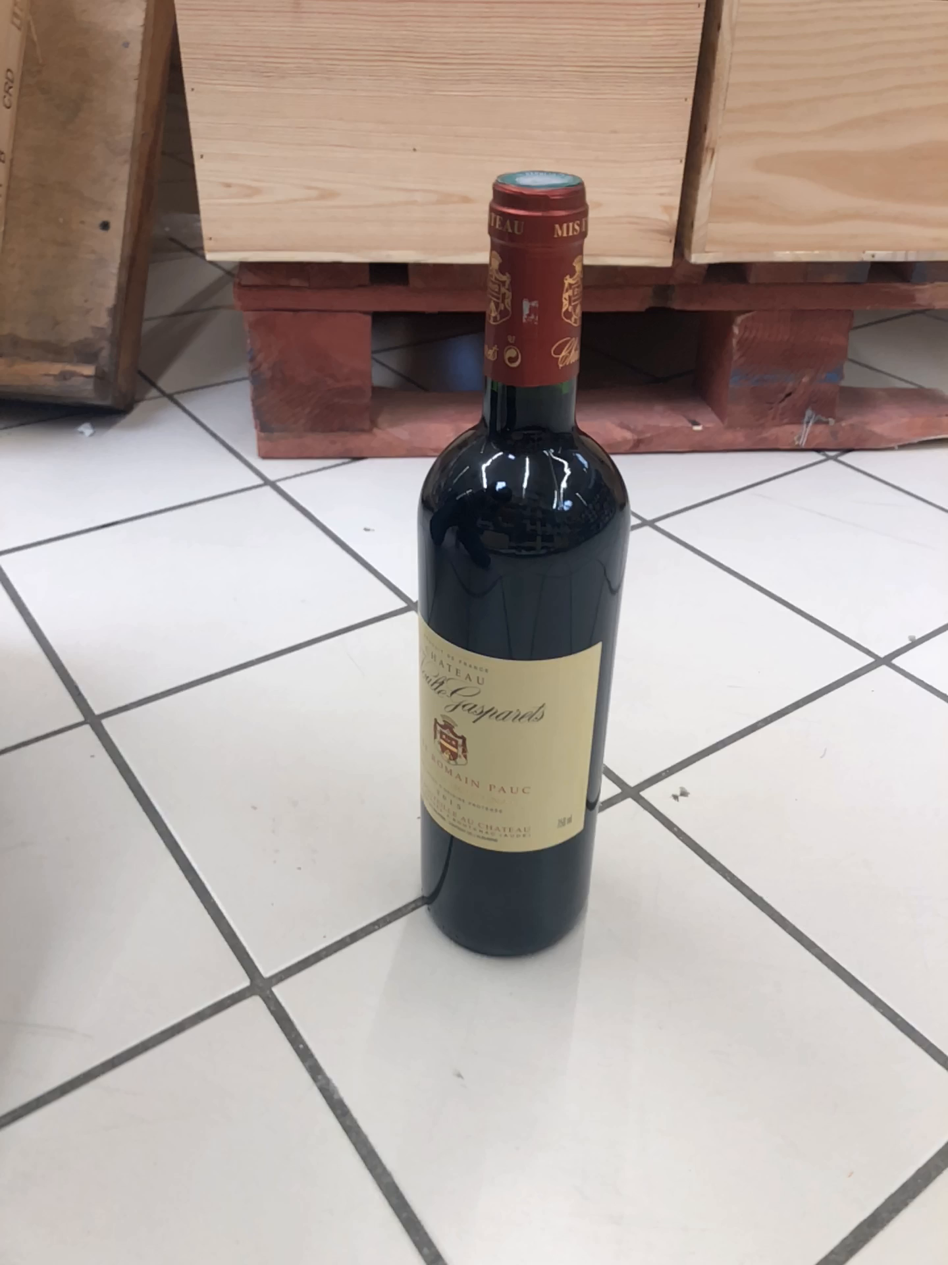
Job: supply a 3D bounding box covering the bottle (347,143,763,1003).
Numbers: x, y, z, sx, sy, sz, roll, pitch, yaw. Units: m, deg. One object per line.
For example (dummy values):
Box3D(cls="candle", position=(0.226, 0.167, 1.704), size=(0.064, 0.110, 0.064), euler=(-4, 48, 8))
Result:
Box3D(cls="bottle", position=(0.020, -0.009, 0.377), size=(0.080, 0.288, 0.091), euler=(27, 41, 32))
